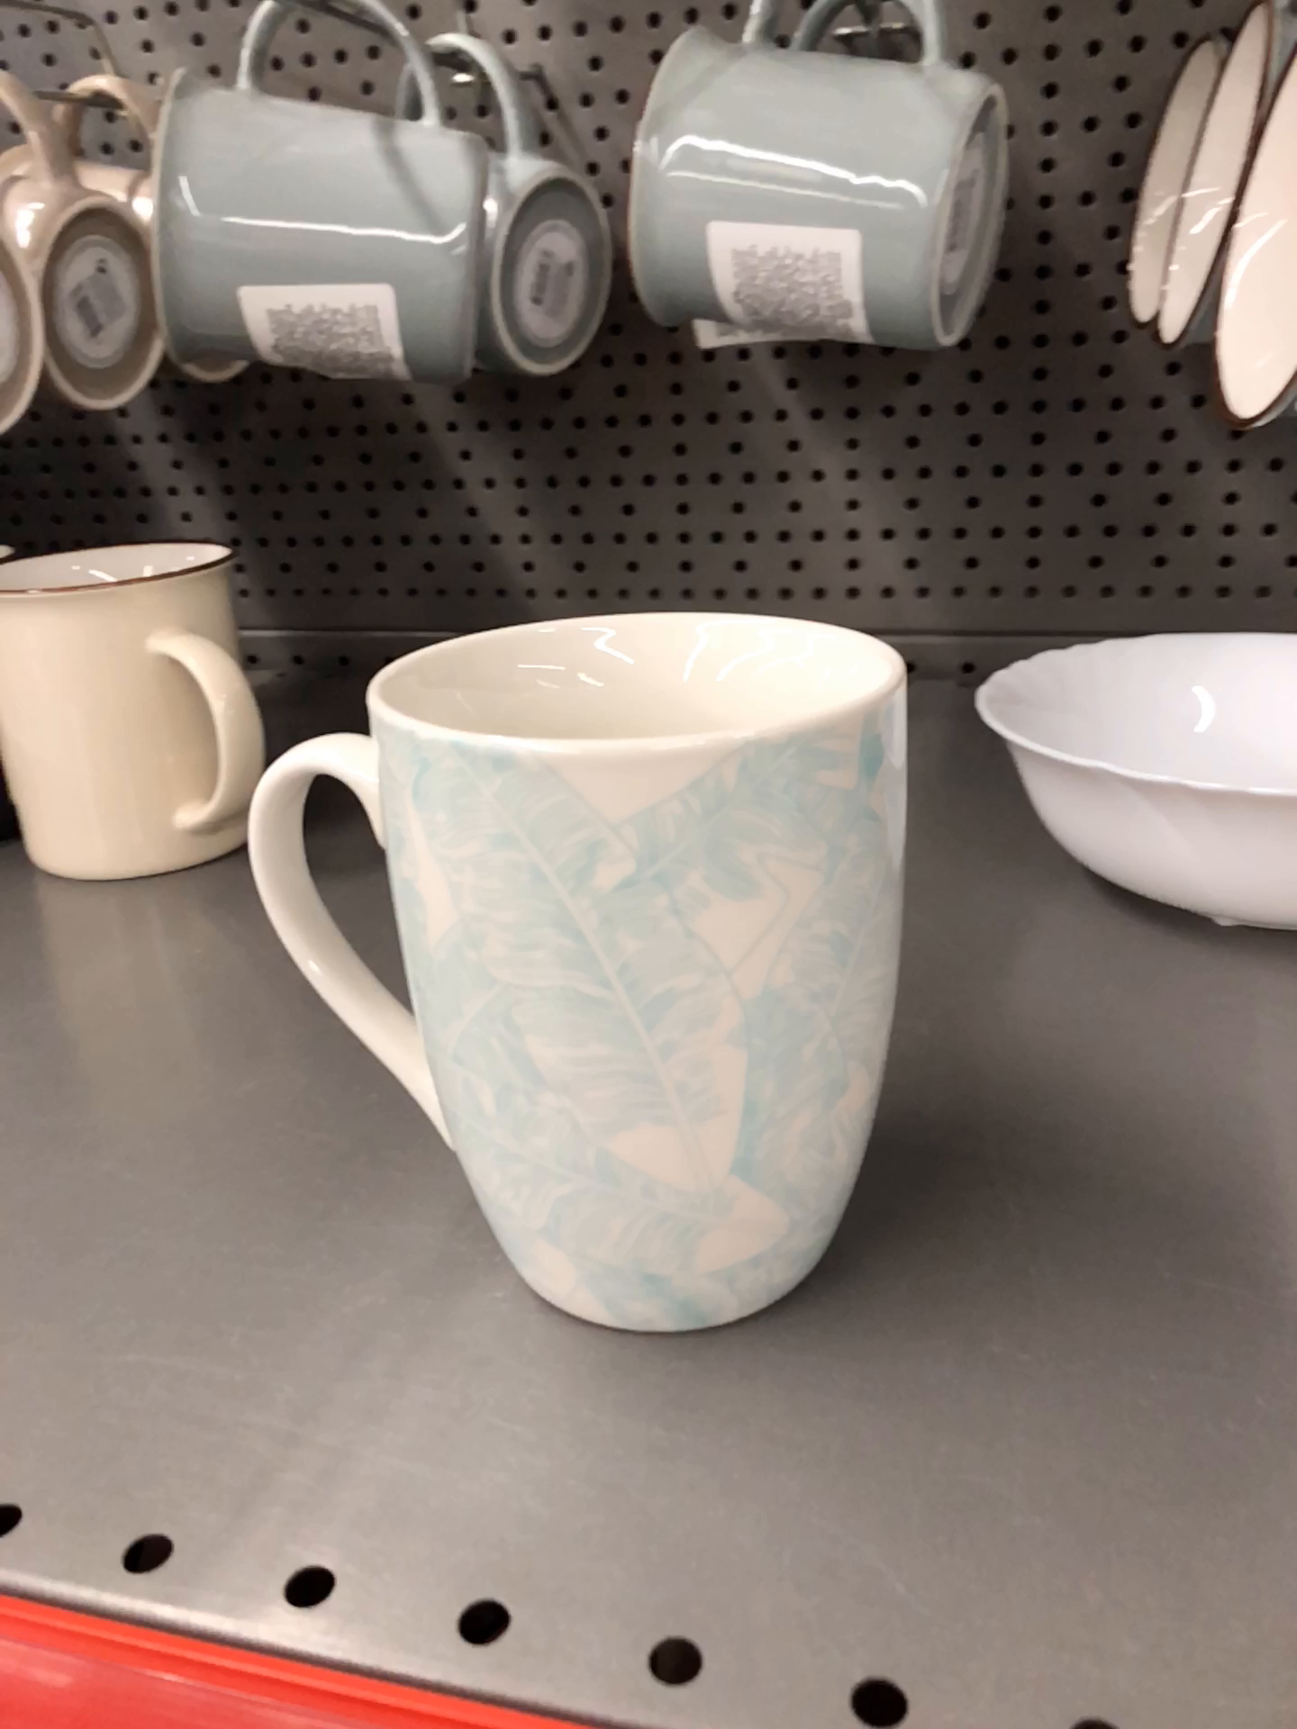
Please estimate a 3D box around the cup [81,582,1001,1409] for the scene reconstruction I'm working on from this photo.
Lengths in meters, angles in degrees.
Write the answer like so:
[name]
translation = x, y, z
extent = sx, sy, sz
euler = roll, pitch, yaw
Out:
[cup]
translation = -0.009, 0.011, 0.243
extent = 0.120, 0.098, 0.084
euler = 5, 25, 21
